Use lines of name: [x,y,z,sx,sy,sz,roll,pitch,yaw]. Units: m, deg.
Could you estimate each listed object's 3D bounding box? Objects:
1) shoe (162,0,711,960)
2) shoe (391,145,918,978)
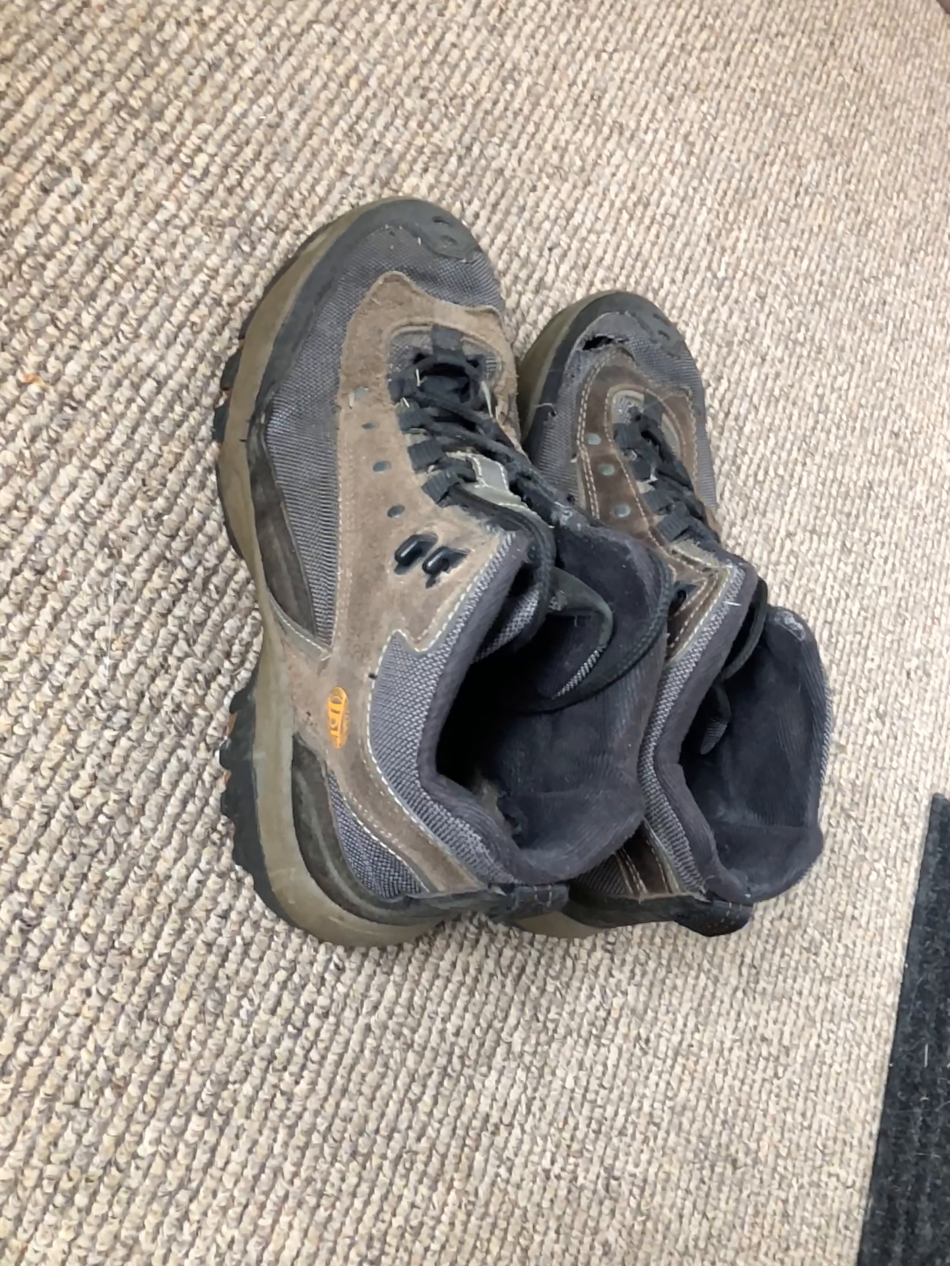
shoe: [-0.016,-0.038,0.363,0.116,0.135,0.279,10,72,-34]
shoe: [0.079,-0.020,0.425,0.119,0.137,0.280,23,66,-30]
